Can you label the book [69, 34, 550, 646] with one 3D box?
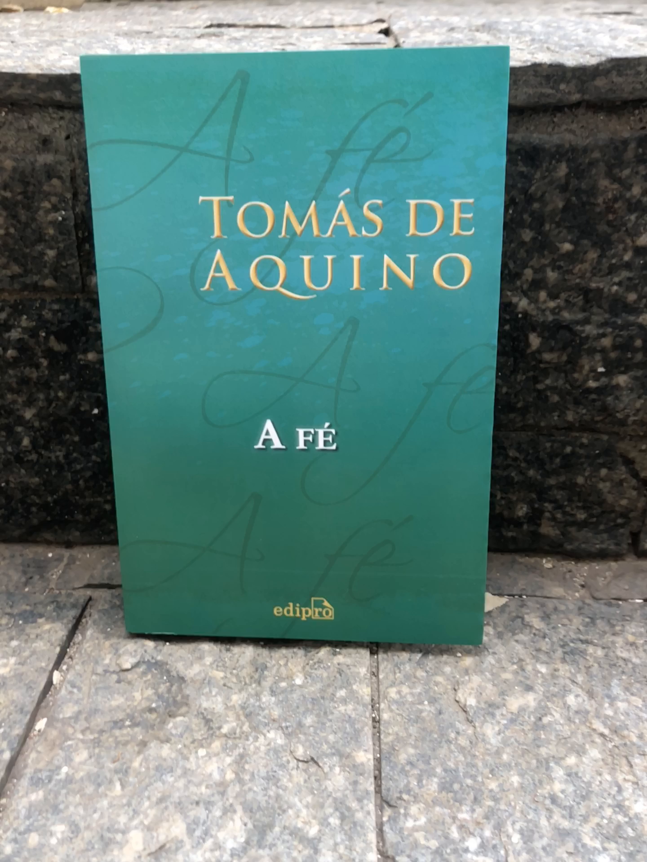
[{"bbox_3d":[-0.005,-0.023,0.248,0.142,0.199,0.020,1,15,3],"label":"book"}]
